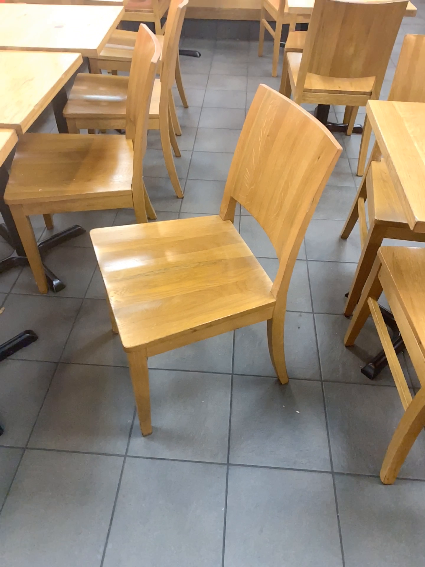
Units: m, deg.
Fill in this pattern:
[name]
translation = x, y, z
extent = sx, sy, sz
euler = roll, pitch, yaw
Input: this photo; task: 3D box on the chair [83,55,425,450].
[chair]
translation = 0.044, -0.071, 1.218
extent = 0.611, 0.892, 0.514
euler = -12, 46, -19
